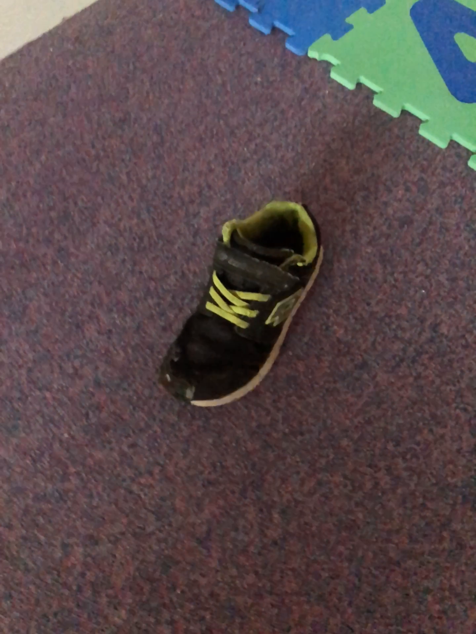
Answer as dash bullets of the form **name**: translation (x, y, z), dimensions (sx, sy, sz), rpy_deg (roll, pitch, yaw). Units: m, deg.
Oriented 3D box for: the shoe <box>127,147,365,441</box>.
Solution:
- **shoe**: translation (0.016, -0.022, 0.455), dimensions (0.090, 0.100, 0.221), rpy_deg (26, 68, 15)
